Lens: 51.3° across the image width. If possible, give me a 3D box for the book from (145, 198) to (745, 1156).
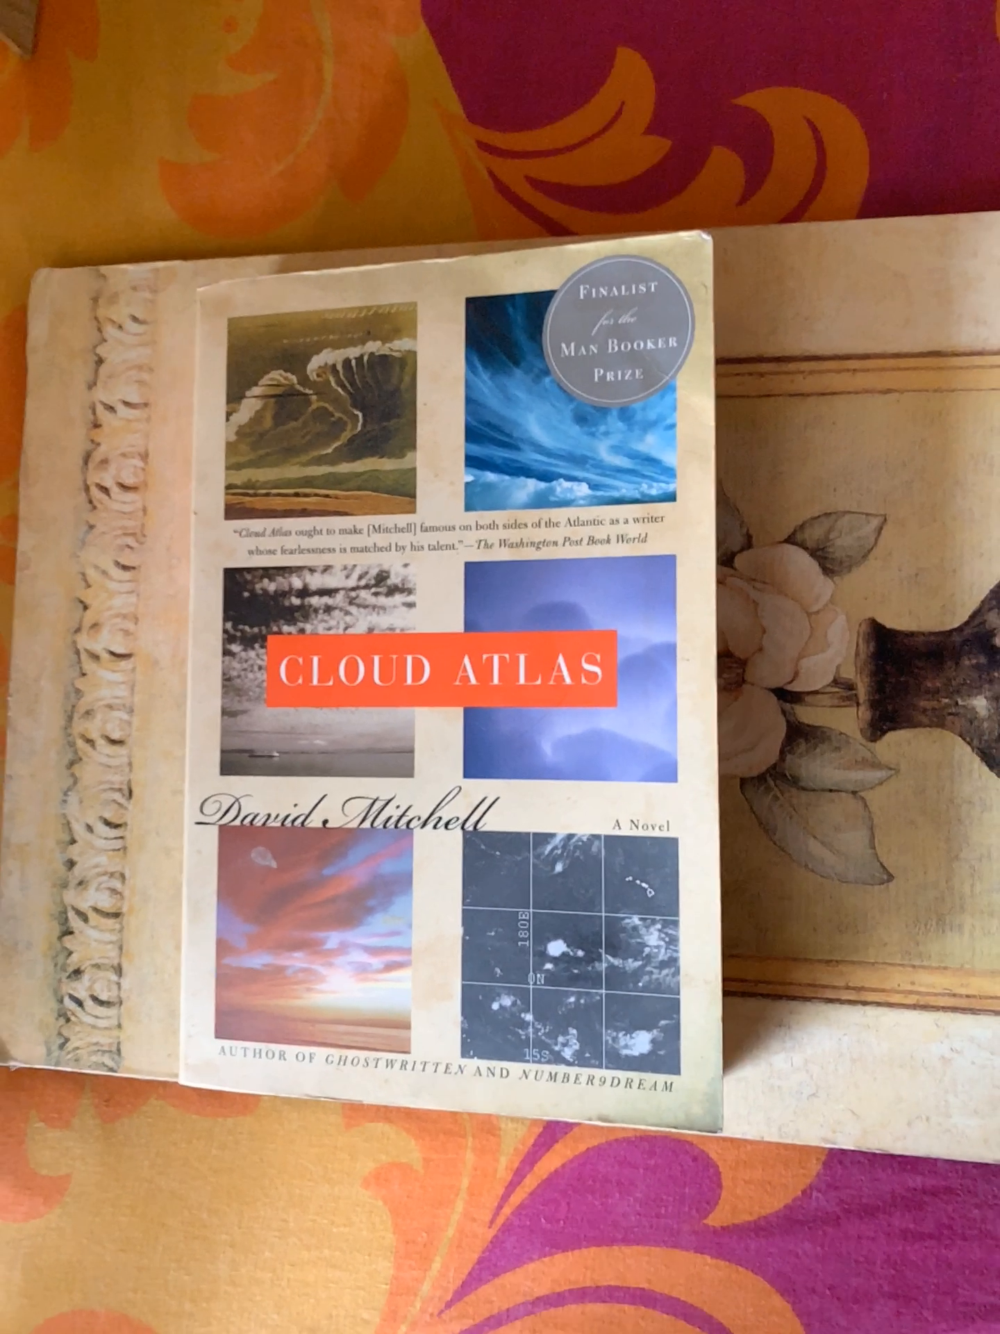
[{"bbox_3d":[-0.011,0.000,0.243,0.130,0.040,0.190,0,86,15],"label":"book"}]
